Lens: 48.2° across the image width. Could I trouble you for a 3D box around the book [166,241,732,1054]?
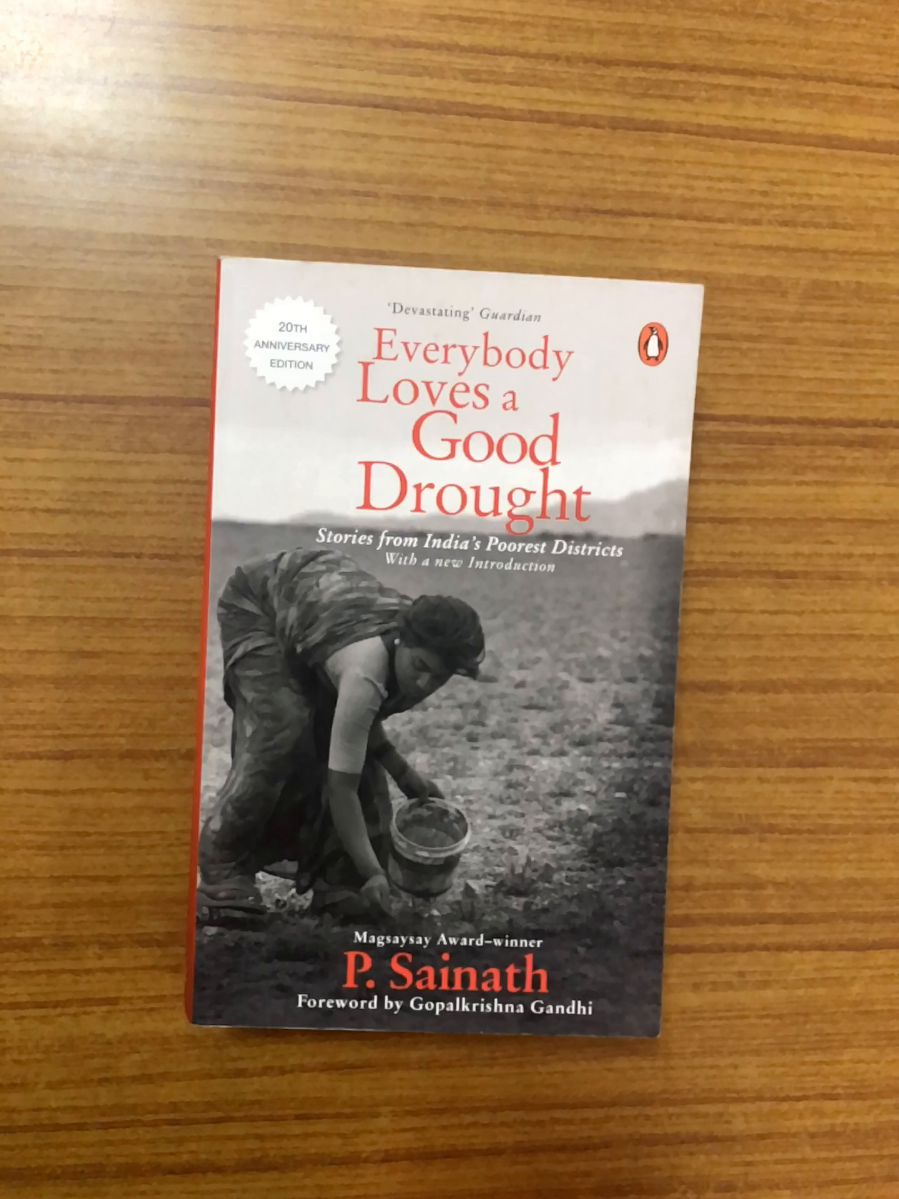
[{"bbox_3d":[-0.002,0.017,0.286,0.140,0.040,0.210,3,93,-6],"label":"book"}]
